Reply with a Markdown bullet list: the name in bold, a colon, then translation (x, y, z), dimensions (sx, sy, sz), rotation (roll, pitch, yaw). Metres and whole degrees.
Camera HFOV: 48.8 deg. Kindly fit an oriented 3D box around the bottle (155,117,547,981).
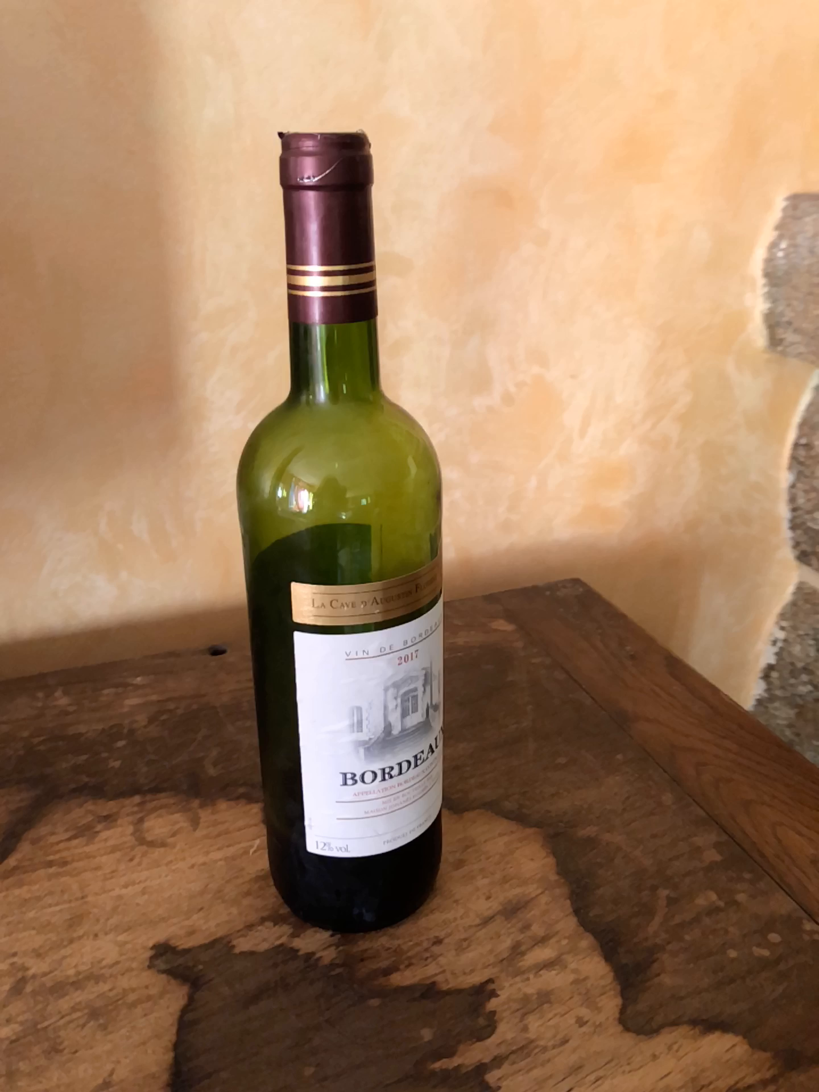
- **bottle**: translation (-0.019, 0.004, 0.334), dimensions (0.080, 0.289, 0.090), rotation (22, 30, 40)
